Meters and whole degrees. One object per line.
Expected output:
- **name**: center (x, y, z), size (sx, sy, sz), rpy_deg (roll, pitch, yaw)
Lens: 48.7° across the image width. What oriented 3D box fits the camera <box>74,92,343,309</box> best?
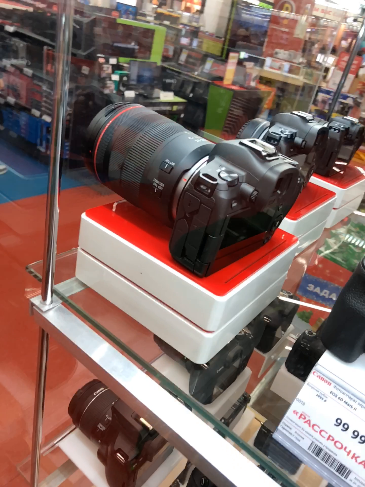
- **camera**: center (0.018, -0.058, 0.376), size (0.183, 0.110, 0.141), rpy_deg (31, 33, 28)
